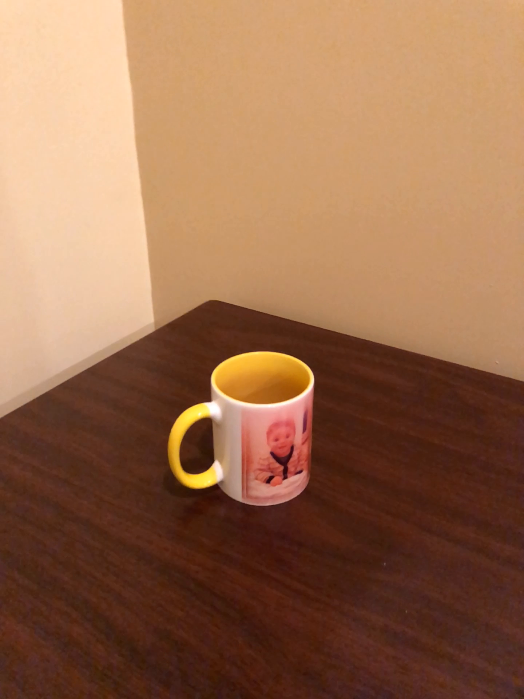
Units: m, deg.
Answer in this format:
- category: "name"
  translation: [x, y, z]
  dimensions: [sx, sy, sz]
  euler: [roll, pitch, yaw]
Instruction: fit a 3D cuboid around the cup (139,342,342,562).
- category: "cup"
  translation: [-0.015, 0.072, 0.448]
  dimensions: [0.120, 0.100, 0.090]
  euler: [-20, 34, -33]
